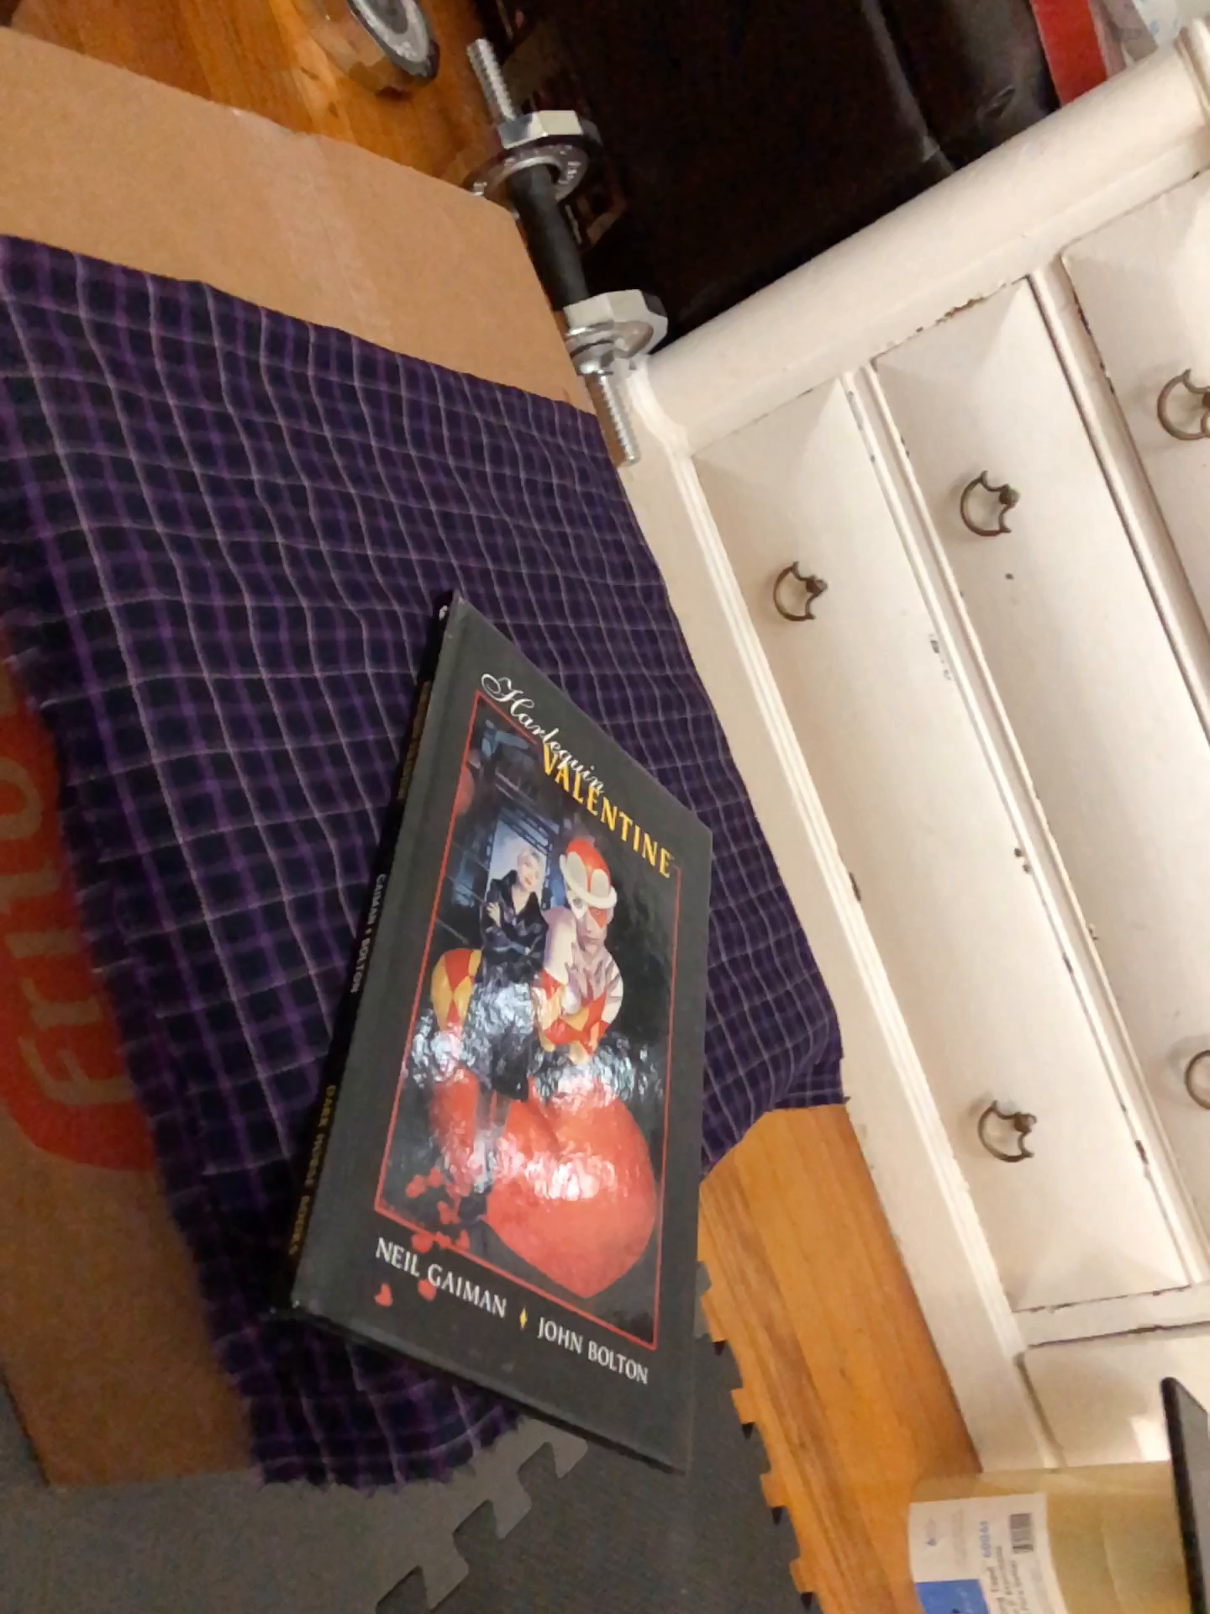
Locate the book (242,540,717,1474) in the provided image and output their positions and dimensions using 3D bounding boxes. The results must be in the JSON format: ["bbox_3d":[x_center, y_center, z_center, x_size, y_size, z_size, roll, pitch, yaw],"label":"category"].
[{"bbox_3d":[-0.020,0.061,0.468,0.180,0.020,0.281,41,39,-37],"label":"book"}]
